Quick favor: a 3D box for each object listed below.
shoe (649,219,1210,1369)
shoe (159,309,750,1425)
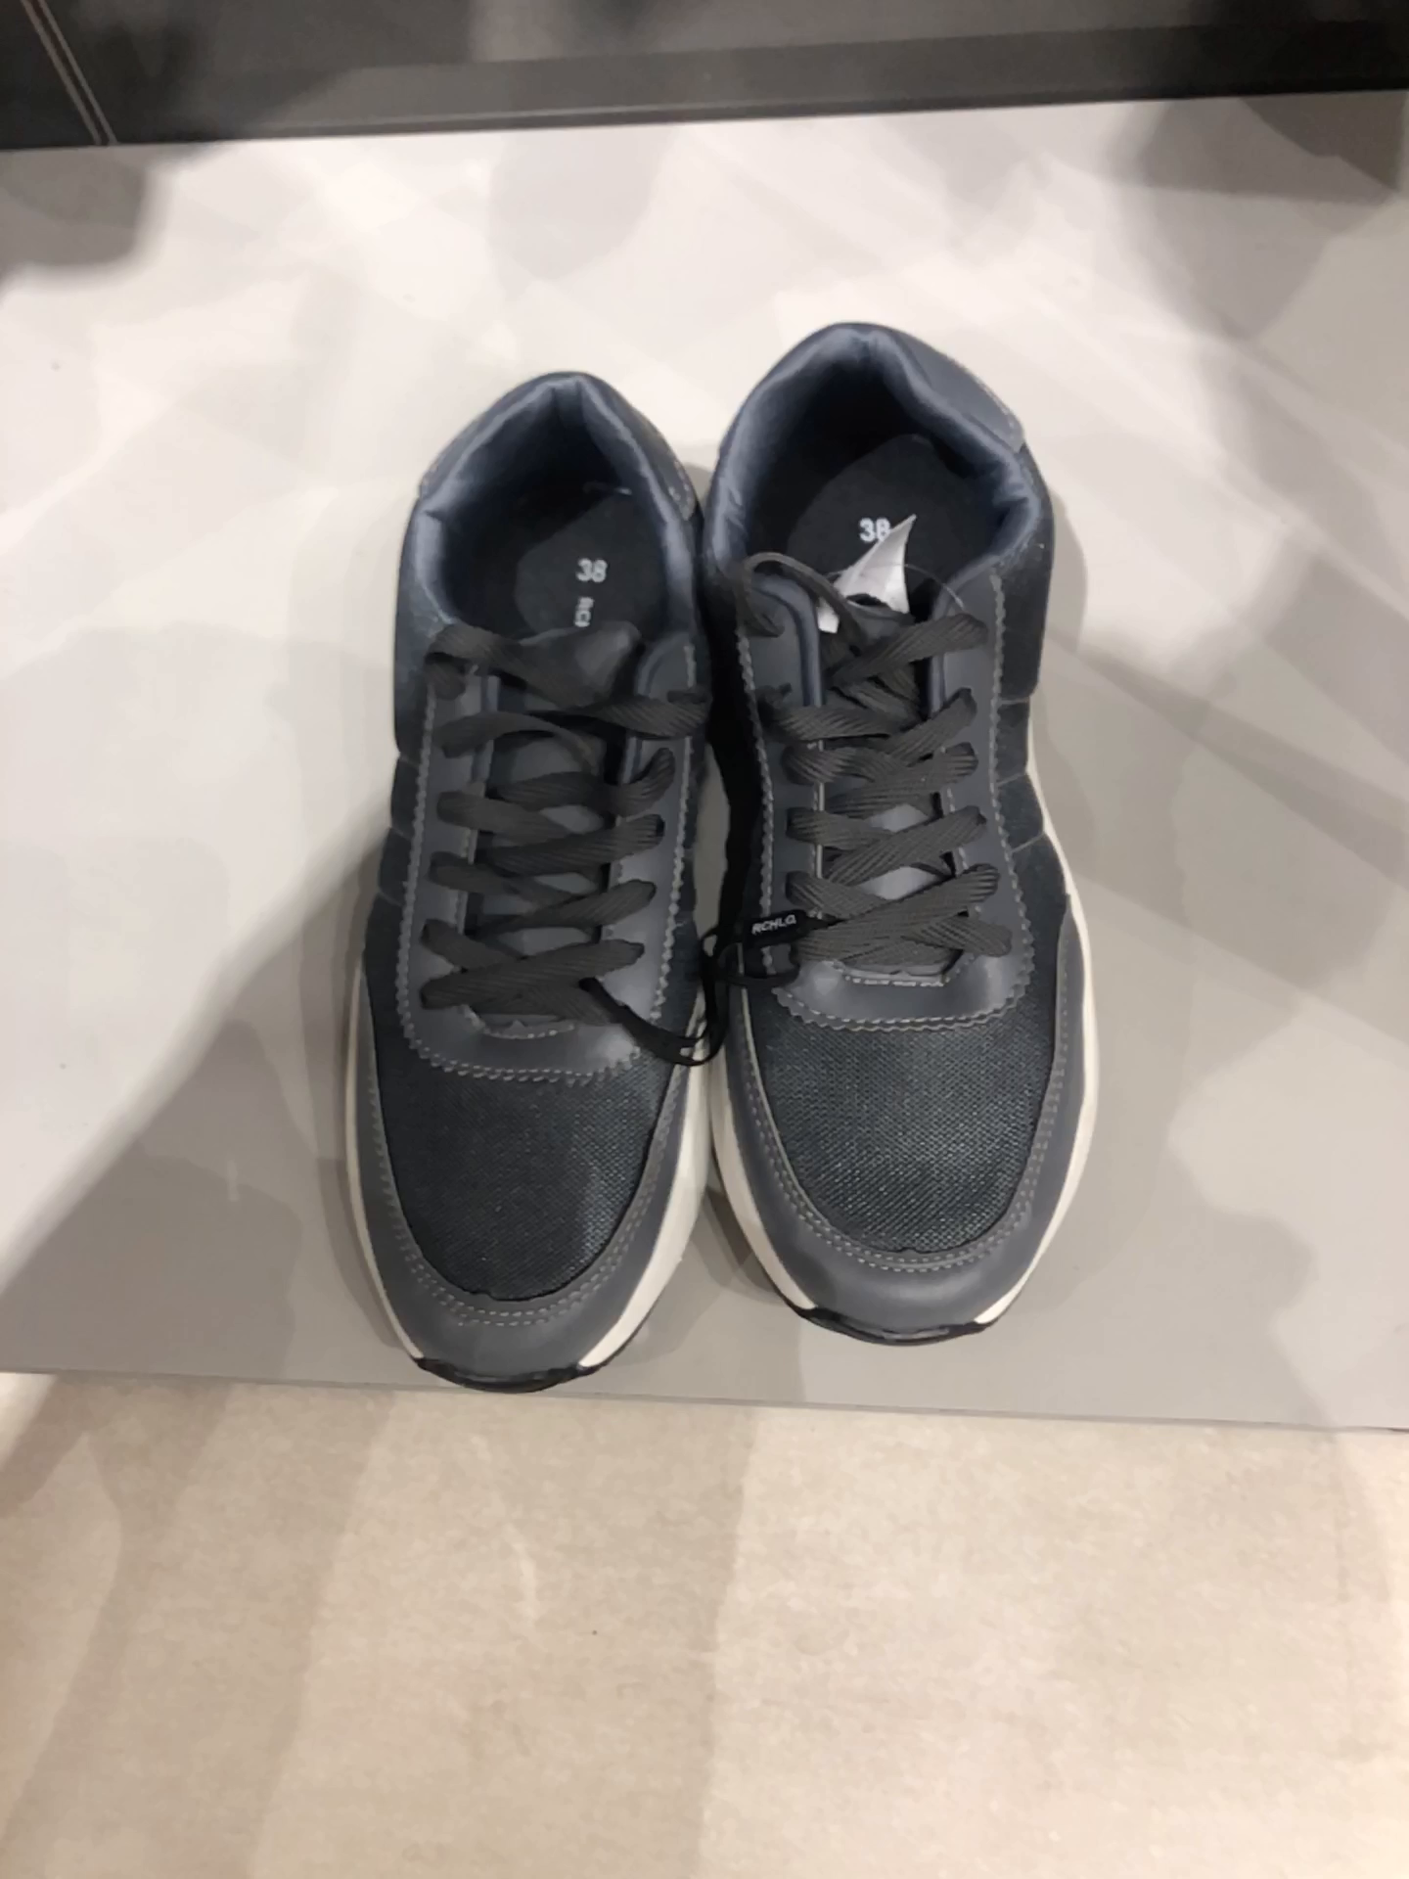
[{"bbox_3d":[0.048,-0.039,0.409,0.110,0.100,0.281,-2,68,5],"label":"shoe"},{"bbox_3d":[-0.050,-0.022,0.421,0.110,0.100,0.281,0,68,6],"label":"shoe"}]
